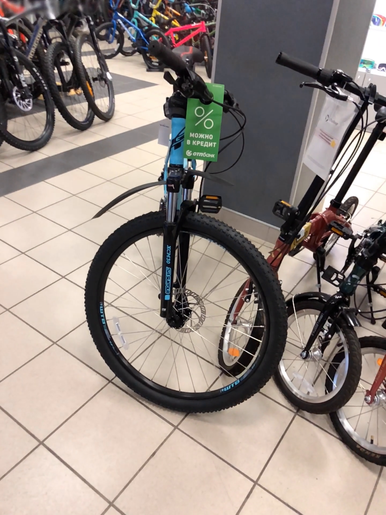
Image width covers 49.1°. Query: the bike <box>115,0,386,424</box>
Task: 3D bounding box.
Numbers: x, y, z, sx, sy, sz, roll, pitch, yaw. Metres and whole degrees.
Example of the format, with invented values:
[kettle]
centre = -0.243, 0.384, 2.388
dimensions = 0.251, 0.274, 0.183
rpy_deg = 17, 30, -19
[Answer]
[bike]
centre = 0.090, -0.354, 1.810
dimensions = 0.691, 1.084, 1.619
rpy_deg = -3, 36, -12
